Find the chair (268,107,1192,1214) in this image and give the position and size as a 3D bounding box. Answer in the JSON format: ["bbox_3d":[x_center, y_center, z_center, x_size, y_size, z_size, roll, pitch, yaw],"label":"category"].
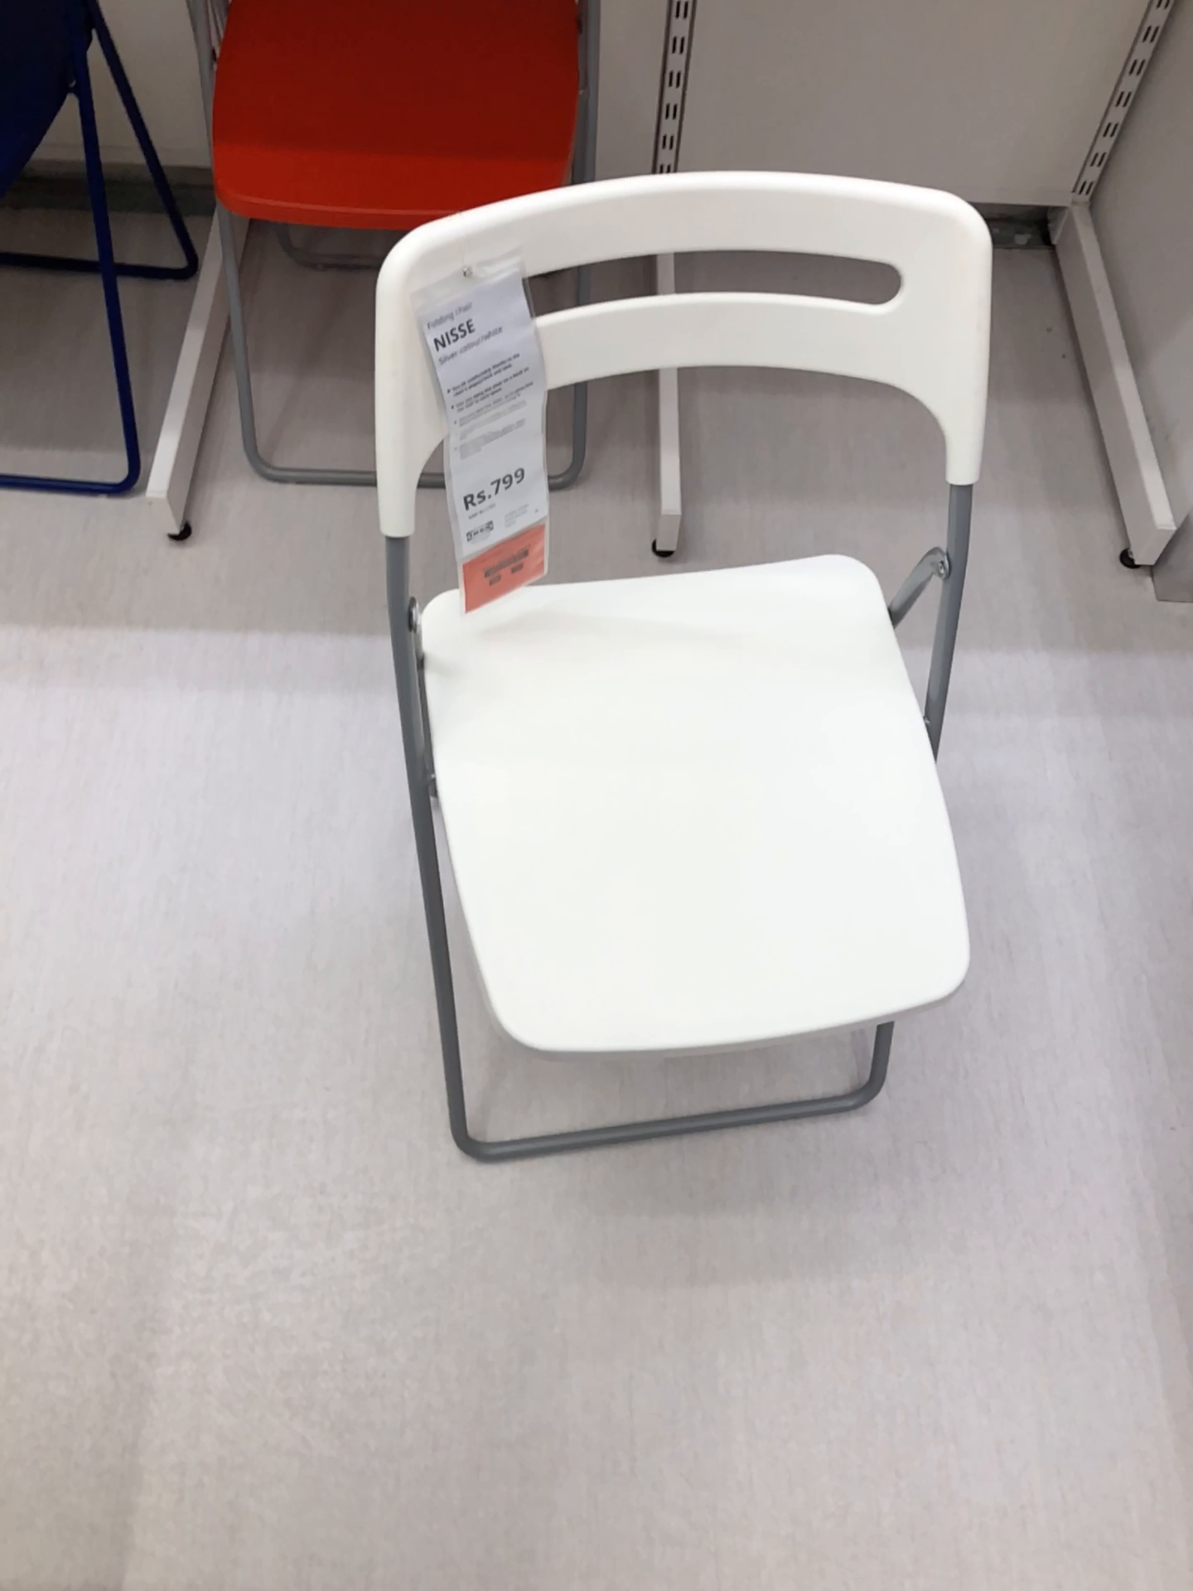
[{"bbox_3d":[0.061,-0.051,1.040,0.500,0.667,0.542,-7,62,-7],"label":"chair"}]
